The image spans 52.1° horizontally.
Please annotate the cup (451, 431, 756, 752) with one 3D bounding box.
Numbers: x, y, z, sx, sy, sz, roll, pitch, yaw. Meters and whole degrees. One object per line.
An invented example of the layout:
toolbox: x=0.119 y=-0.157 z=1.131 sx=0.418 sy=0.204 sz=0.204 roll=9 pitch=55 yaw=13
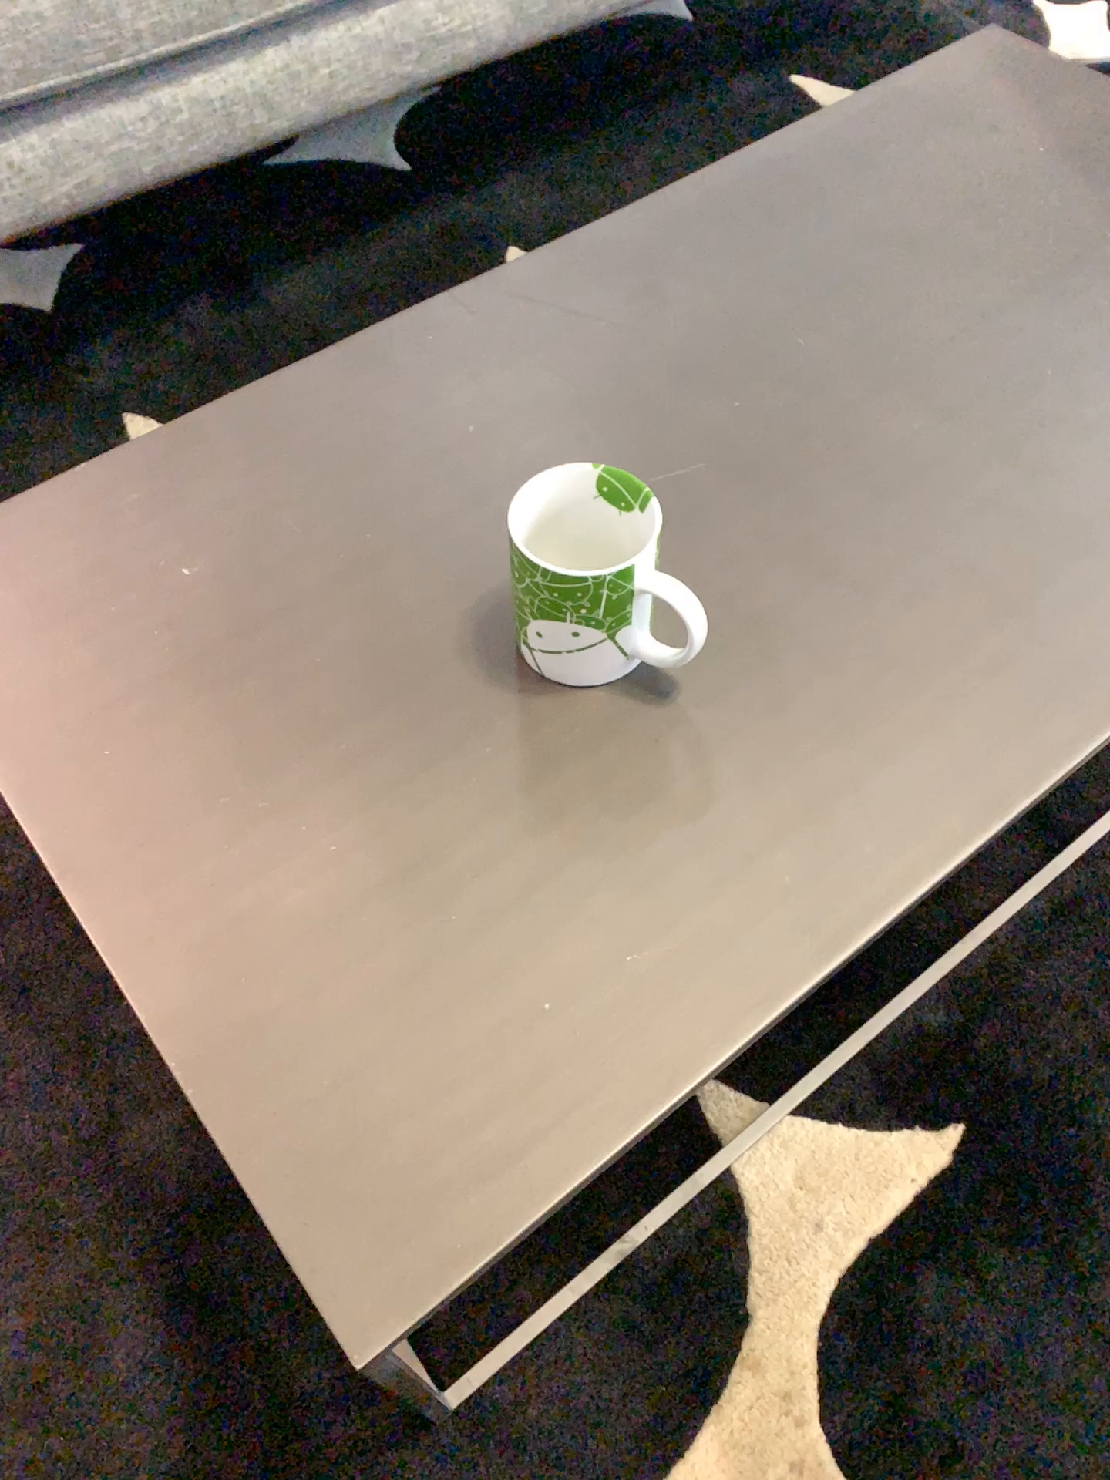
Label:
cup: x=0.025 y=-0.081 z=0.616 sx=0.120 sy=0.090 sz=0.100 roll=30 pitch=62 yaw=19
